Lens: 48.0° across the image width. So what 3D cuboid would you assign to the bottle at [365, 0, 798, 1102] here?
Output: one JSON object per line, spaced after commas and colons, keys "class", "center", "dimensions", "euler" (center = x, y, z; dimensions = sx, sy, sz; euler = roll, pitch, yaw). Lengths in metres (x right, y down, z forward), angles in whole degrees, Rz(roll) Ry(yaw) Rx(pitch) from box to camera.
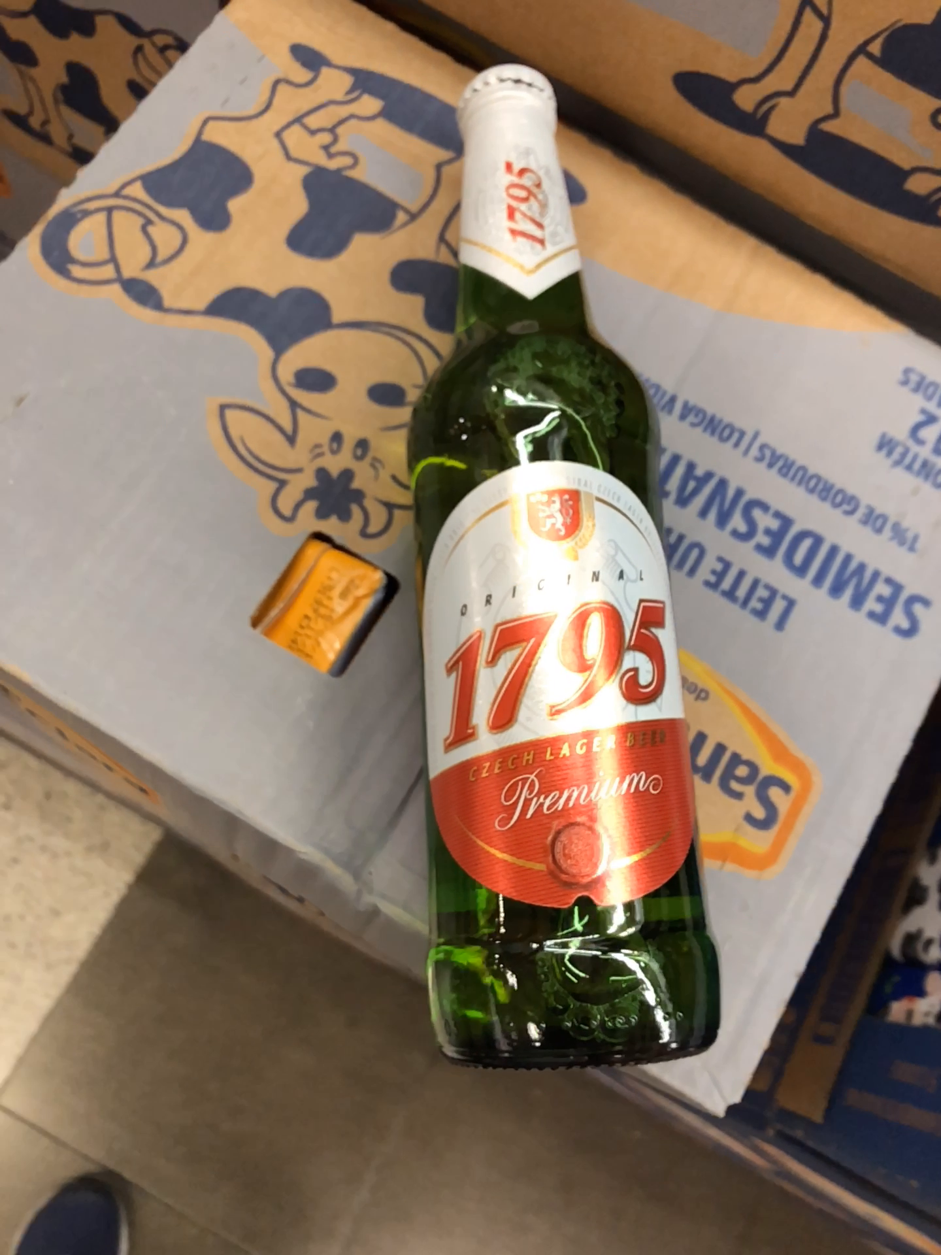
{"class": "bottle", "center": [0.014, -0.038, 0.258], "dimensions": [0.070, 0.060, 0.270], "euler": [-1, 72, -8]}
